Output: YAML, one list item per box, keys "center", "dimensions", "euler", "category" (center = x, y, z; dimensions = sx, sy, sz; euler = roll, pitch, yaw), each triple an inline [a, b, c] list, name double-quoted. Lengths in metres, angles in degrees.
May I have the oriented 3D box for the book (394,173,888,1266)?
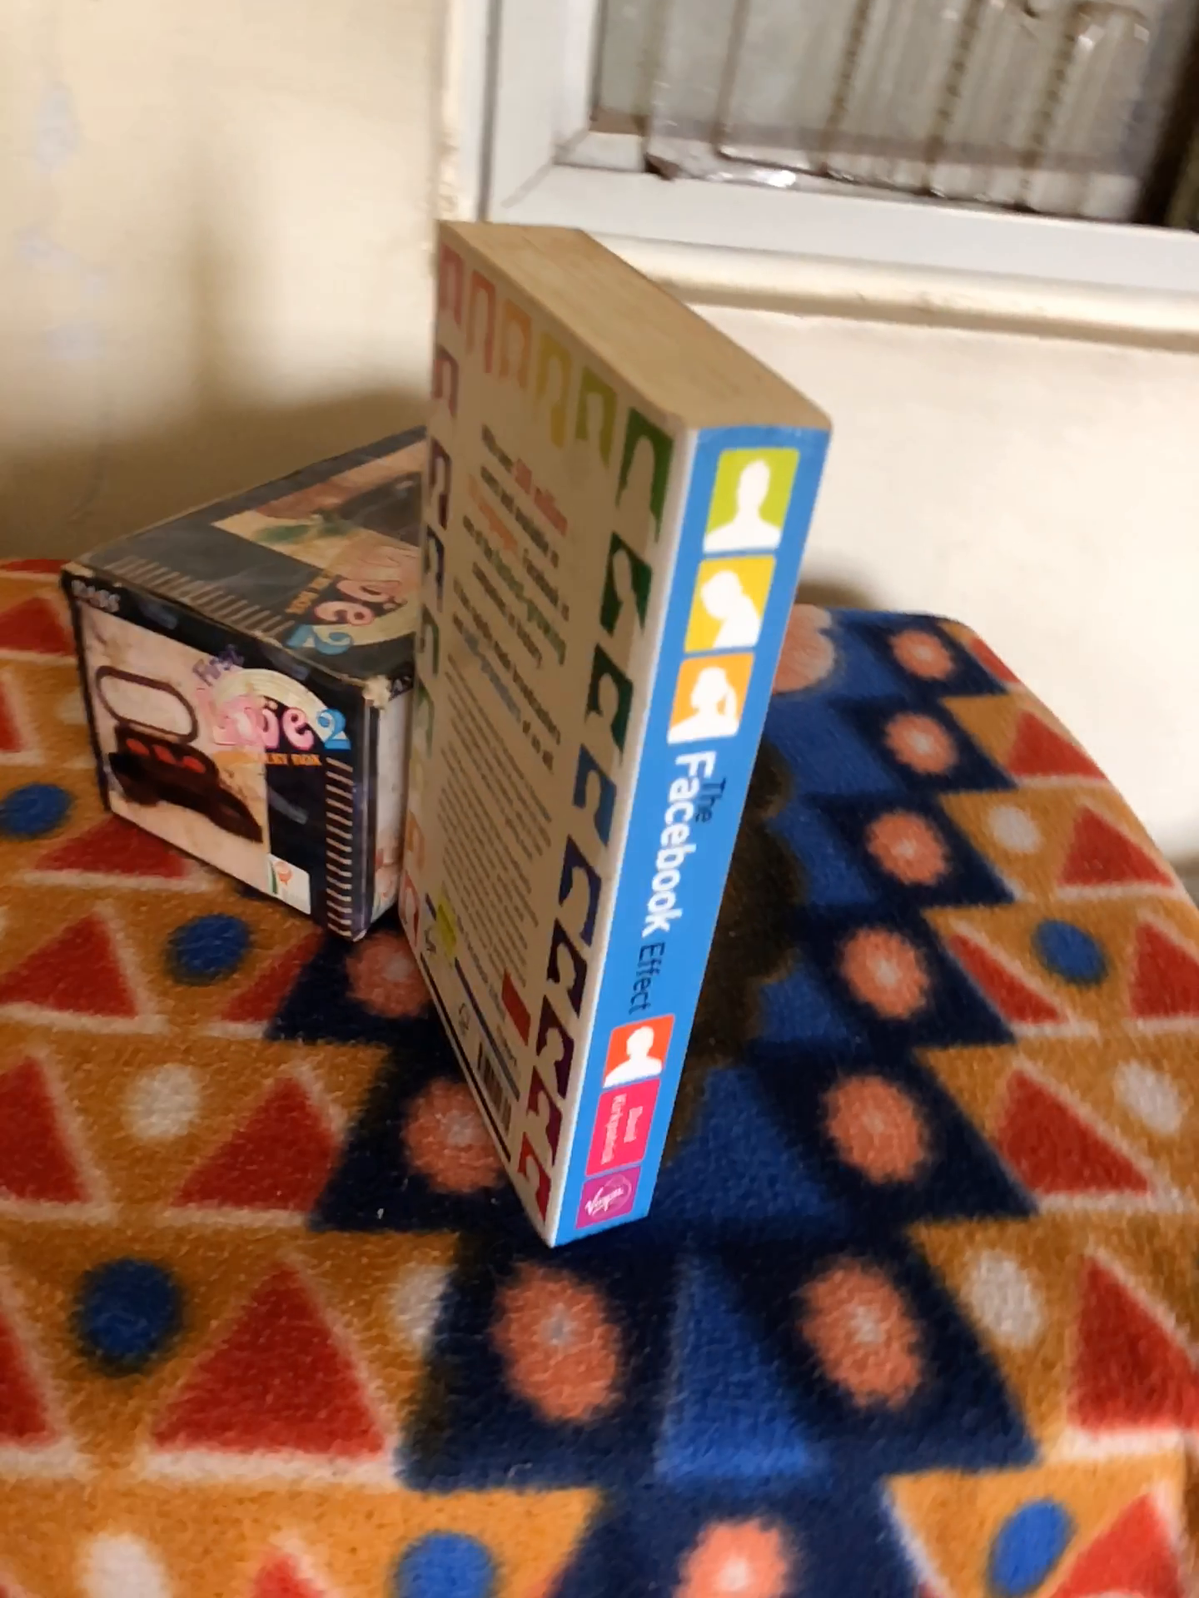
- center: [-0.010, -0.020, 0.328]
  dimensions: [0.040, 0.219, 0.151]
  euler: [-10, 38, -22]
  category: "book"
